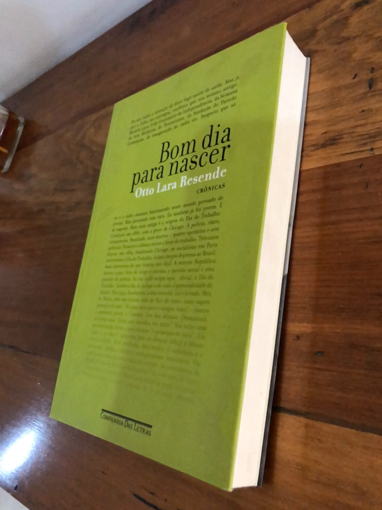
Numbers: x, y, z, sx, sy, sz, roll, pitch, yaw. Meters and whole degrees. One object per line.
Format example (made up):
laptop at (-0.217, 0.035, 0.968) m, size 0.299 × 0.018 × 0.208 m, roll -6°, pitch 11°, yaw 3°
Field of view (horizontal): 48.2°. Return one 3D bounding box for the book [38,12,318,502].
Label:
book at (-0.011, -0.006, 0.231) m, size 0.137 × 0.030 × 0.208 m, roll -4°, pitch 71°, yaw 43°
